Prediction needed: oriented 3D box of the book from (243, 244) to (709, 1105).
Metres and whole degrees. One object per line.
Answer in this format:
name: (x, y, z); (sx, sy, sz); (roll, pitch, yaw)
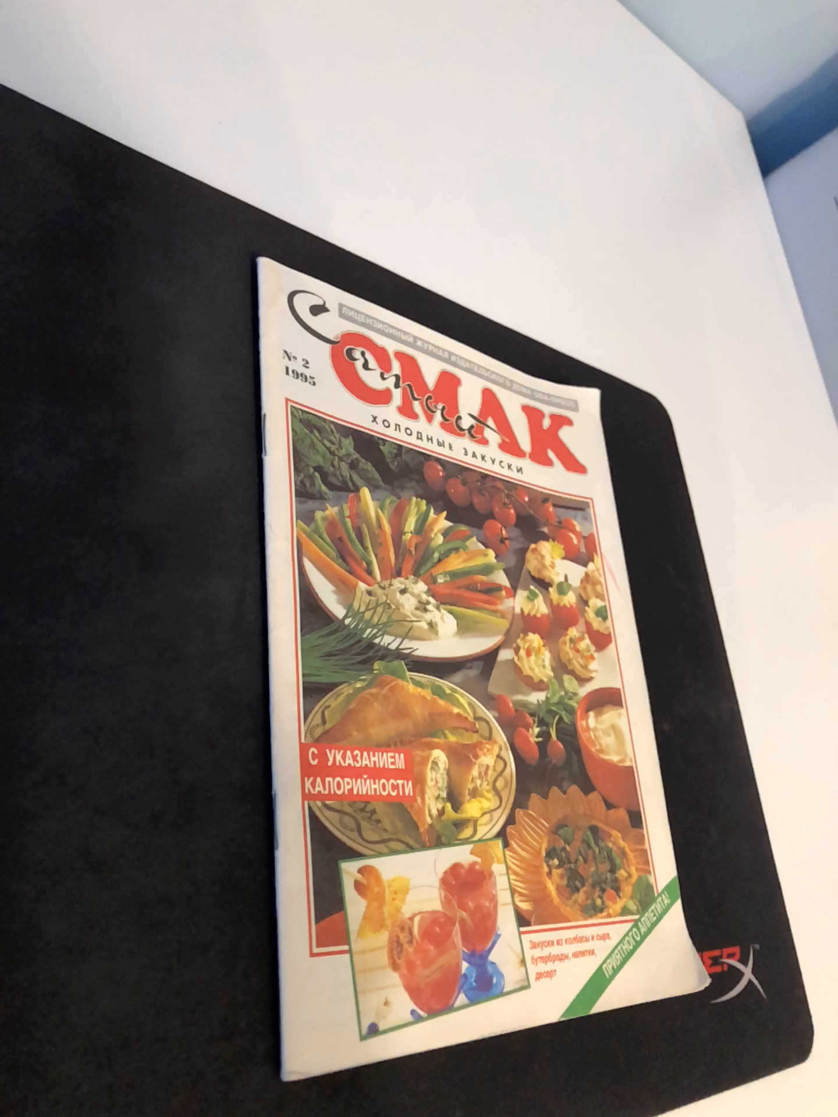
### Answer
book: (0.019, 0.026, 0.295); (0.161, 0.010, 0.231); (13, 62, -39)
